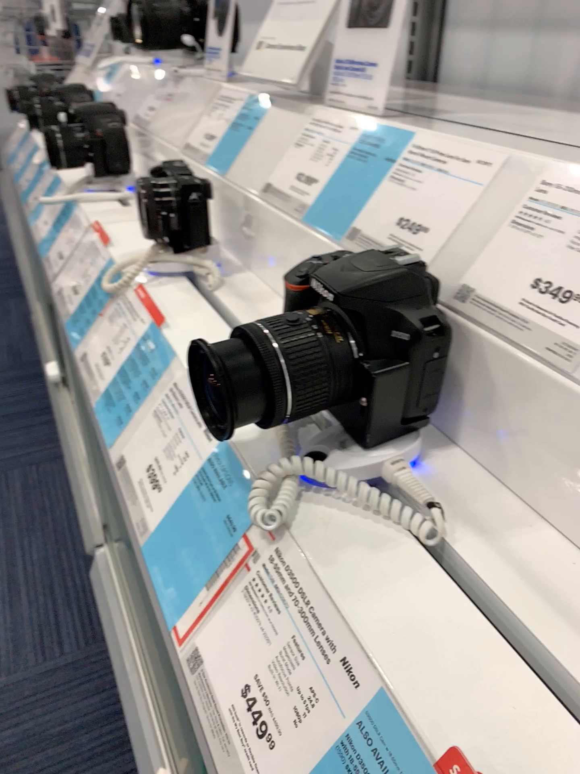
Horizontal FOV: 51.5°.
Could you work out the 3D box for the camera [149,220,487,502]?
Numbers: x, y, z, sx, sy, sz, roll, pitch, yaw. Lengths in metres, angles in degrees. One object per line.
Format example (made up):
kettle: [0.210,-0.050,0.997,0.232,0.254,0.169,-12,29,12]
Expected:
camera: [0.011,-0.030,0.374,0.150,0.099,0.131,-15,34,-26]
